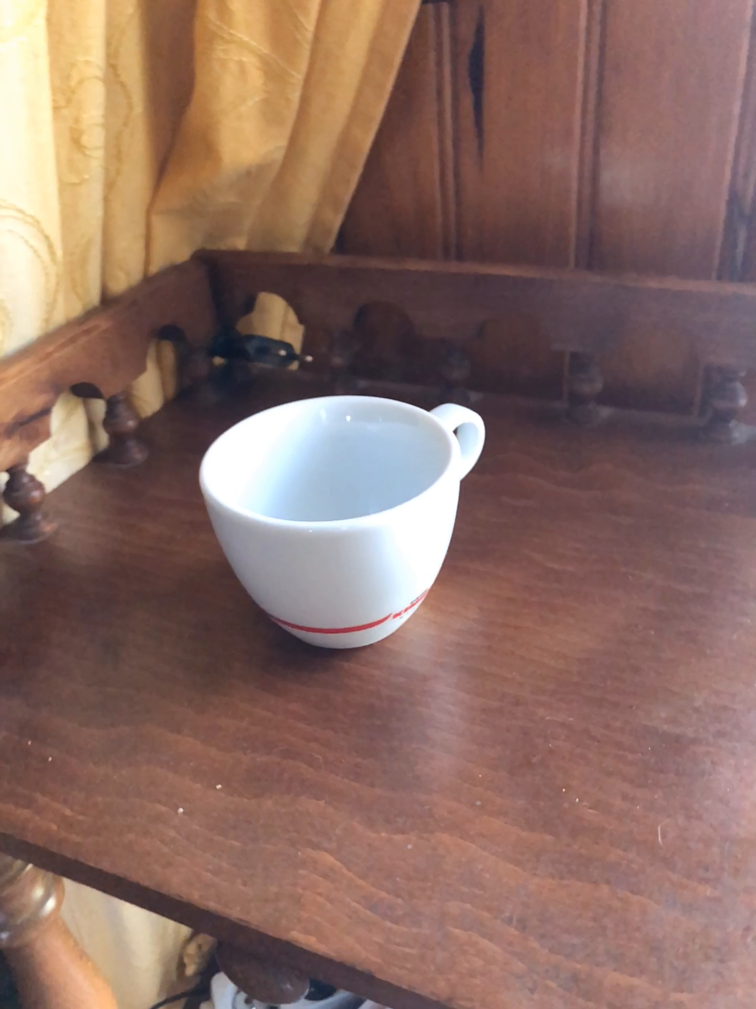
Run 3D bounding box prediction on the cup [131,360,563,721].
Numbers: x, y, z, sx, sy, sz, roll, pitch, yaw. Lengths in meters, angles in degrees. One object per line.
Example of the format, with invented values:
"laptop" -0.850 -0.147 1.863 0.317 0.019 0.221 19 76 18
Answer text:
"cup" -0.008 0.003 0.290 0.111 0.050 0.090 -29 40 -33
